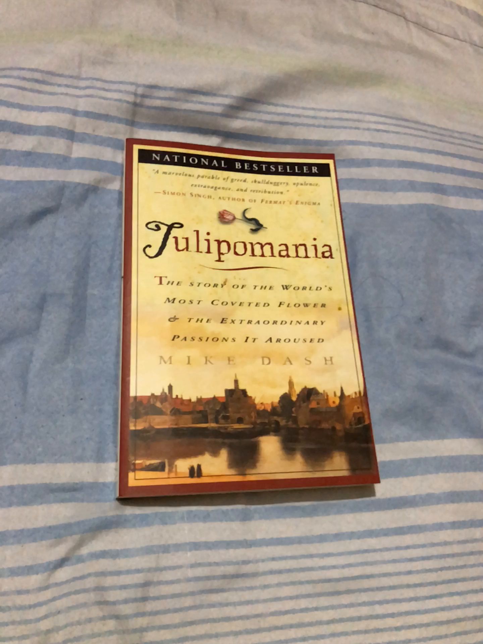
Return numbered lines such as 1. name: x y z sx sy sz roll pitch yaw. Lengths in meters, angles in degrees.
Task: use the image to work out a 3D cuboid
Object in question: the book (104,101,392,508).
1. book: -0.006 -0.017 0.321 0.140 0.050 0.230 1 67 -13
